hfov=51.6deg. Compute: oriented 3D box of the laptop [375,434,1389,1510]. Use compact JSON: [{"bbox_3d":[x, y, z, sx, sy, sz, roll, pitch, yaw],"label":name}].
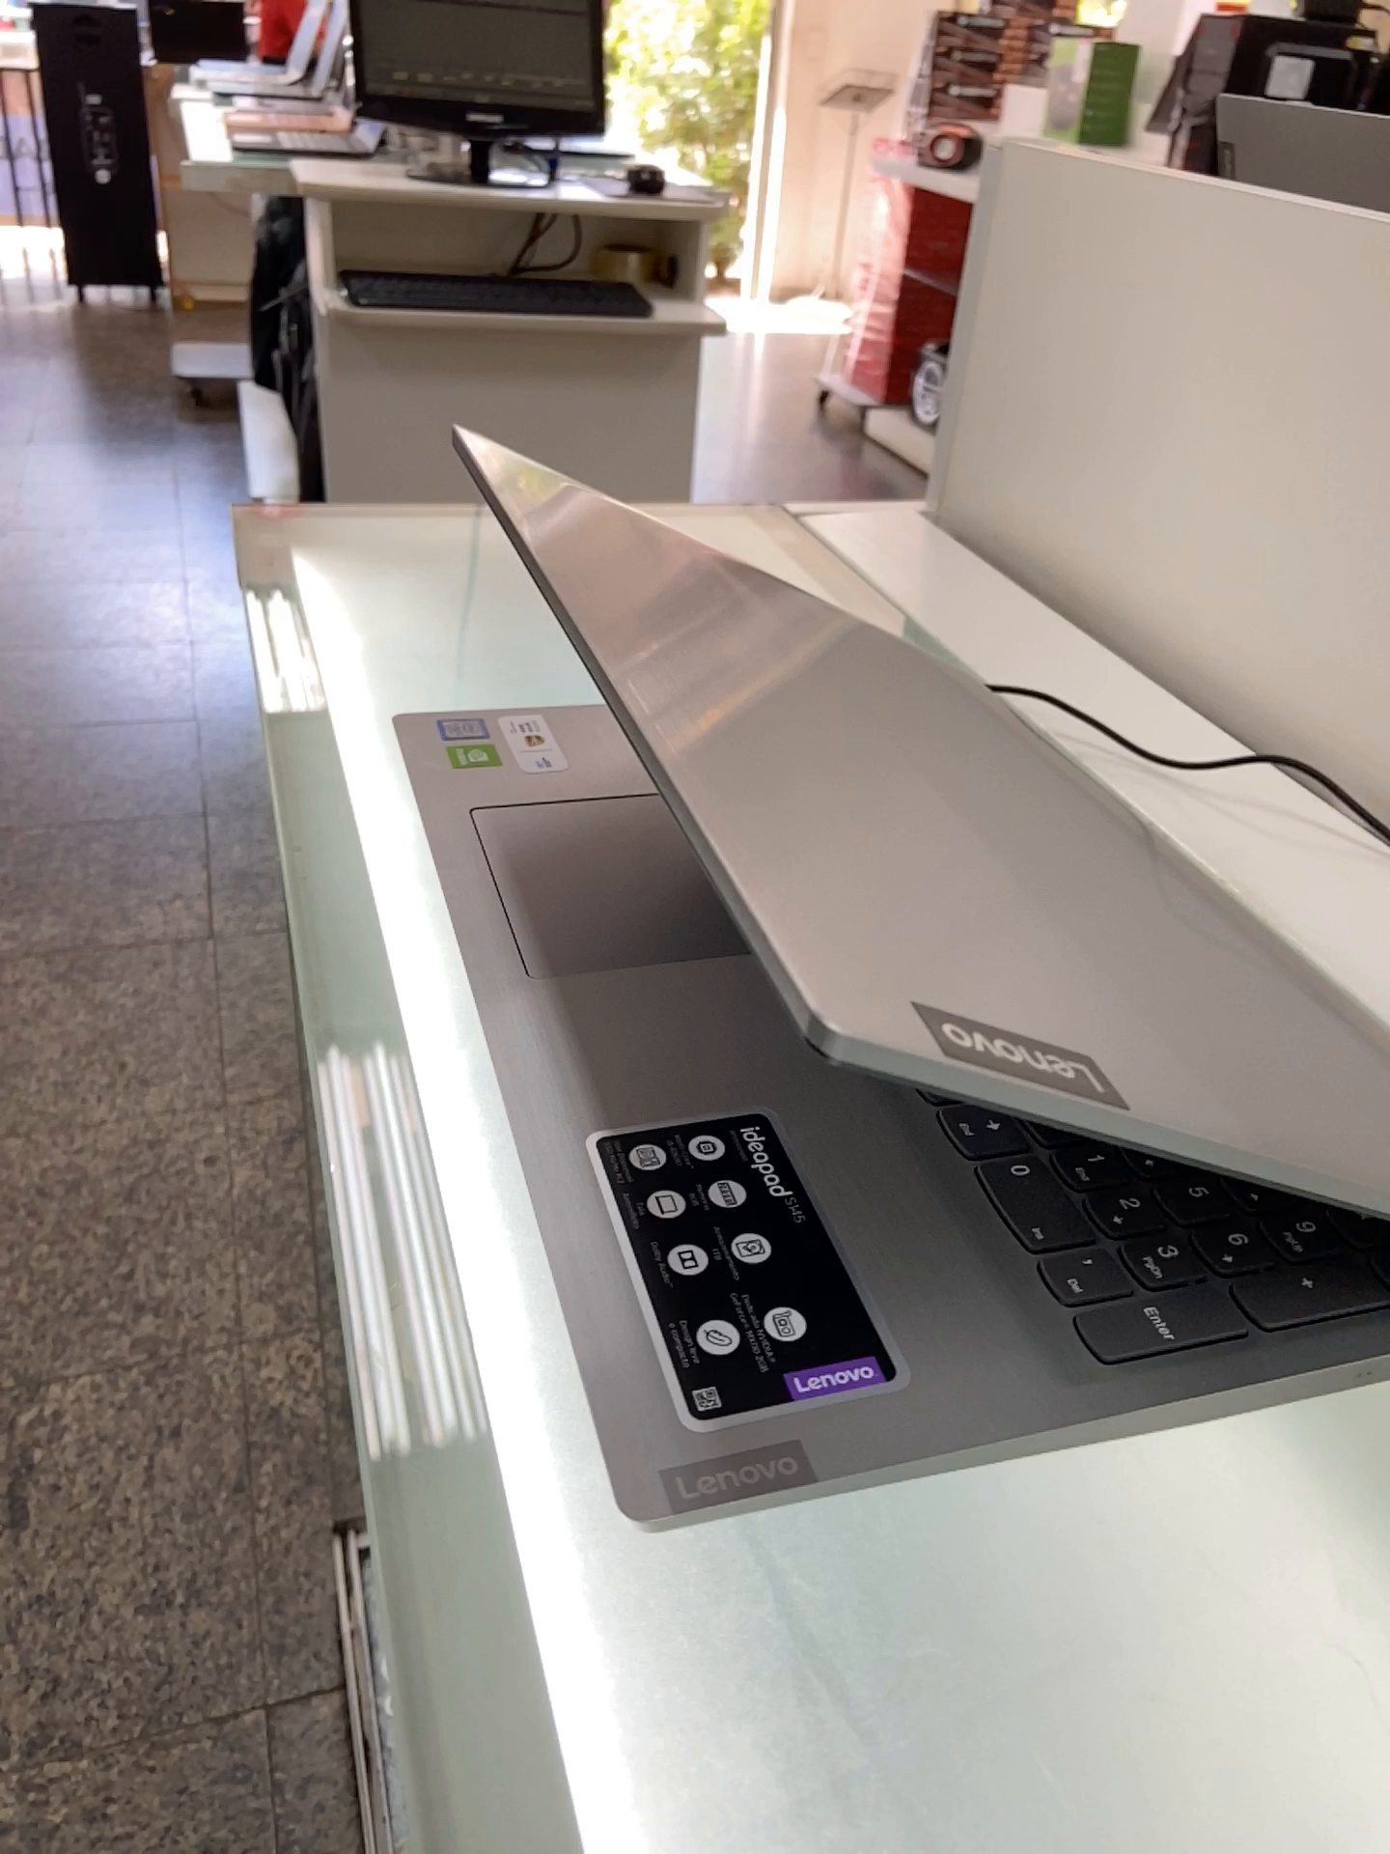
[{"bbox_3d":[0.053,-0.043,0.412,0.239,0.104,0.355,-6,34,-17],"label":"laptop"}]
